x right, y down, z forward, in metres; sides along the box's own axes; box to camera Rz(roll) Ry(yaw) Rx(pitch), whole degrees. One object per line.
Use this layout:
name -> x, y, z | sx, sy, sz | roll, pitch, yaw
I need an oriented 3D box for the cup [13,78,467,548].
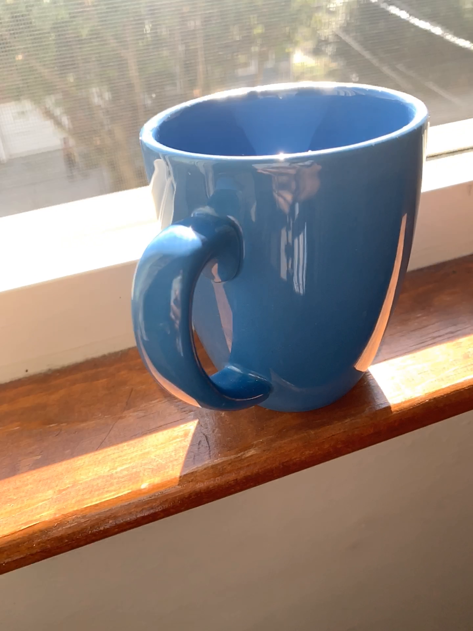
cup -> 0.013, -0.015, 0.168 | 0.082, 0.095, 0.114 | 17, 41, 28
